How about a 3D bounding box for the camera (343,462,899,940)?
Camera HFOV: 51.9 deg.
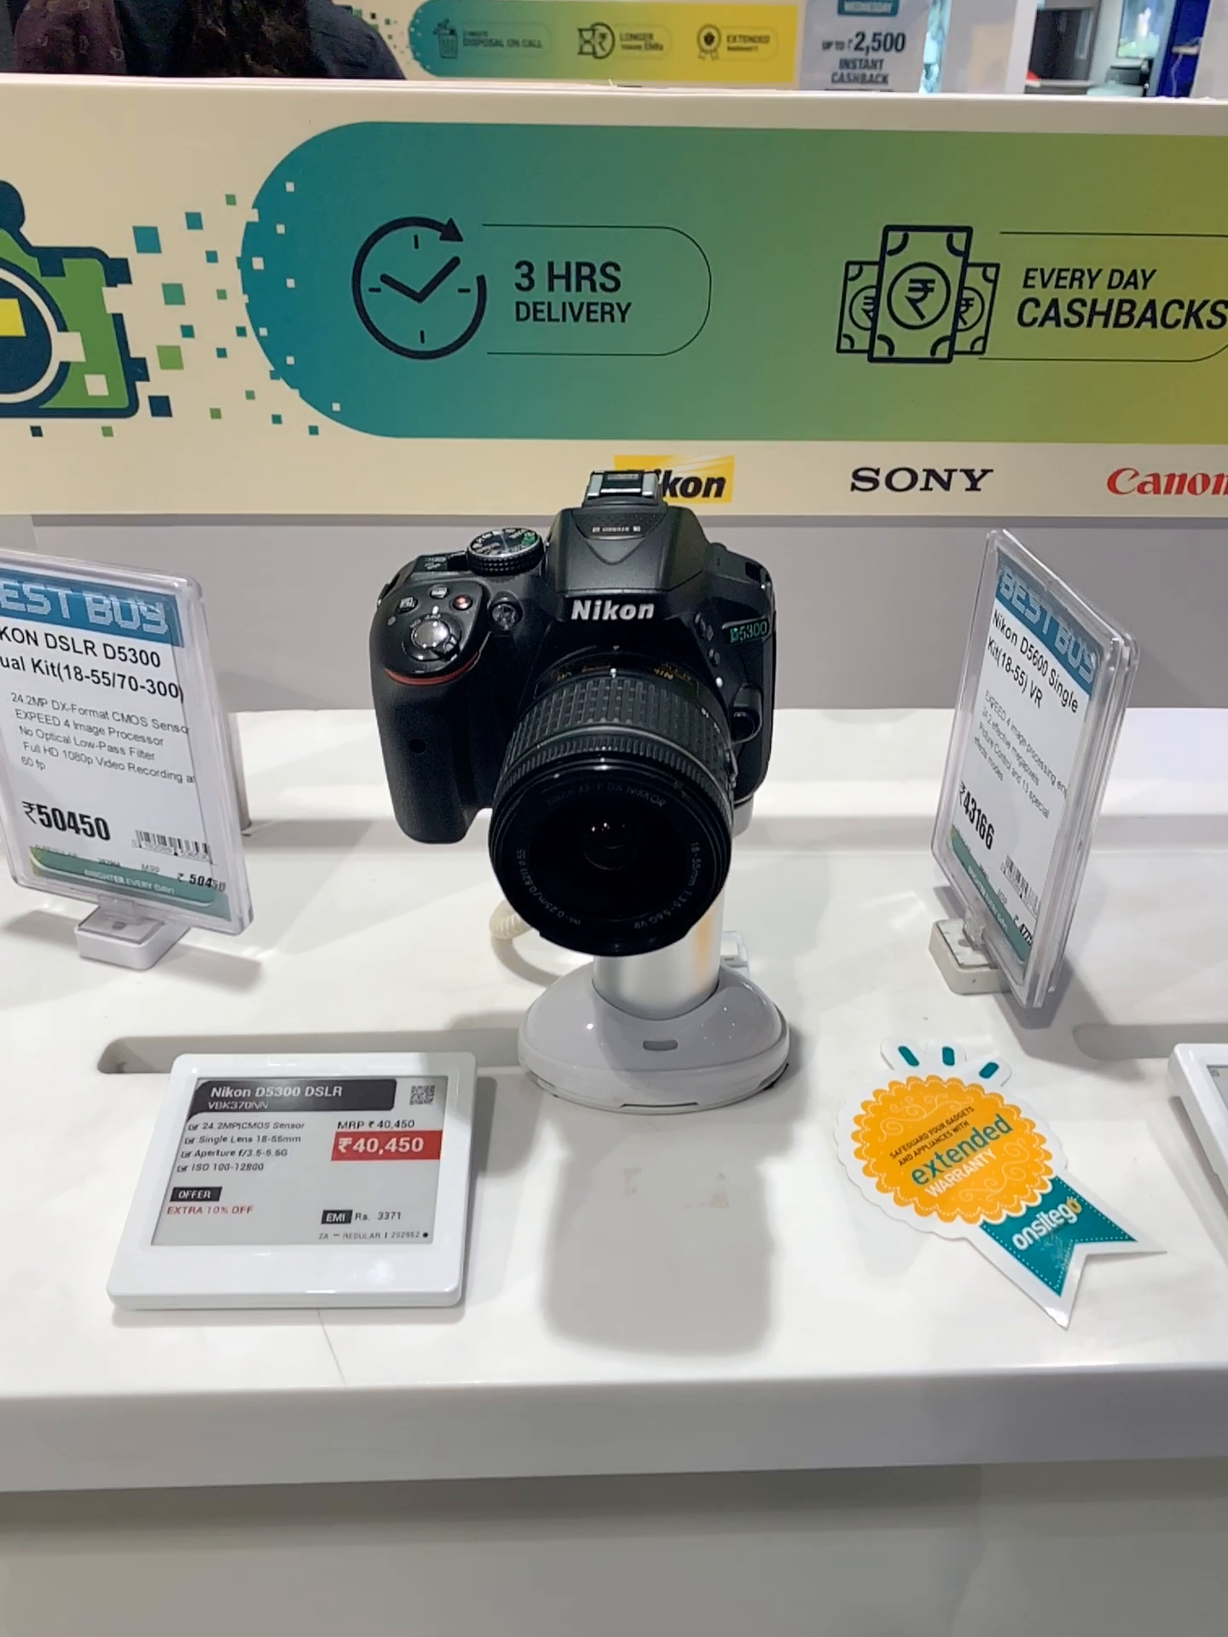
[{"bbox_3d":[-0.001,-0.038,0.341,0.118,0.082,0.123,0,31,-2],"label":"camera"}]
